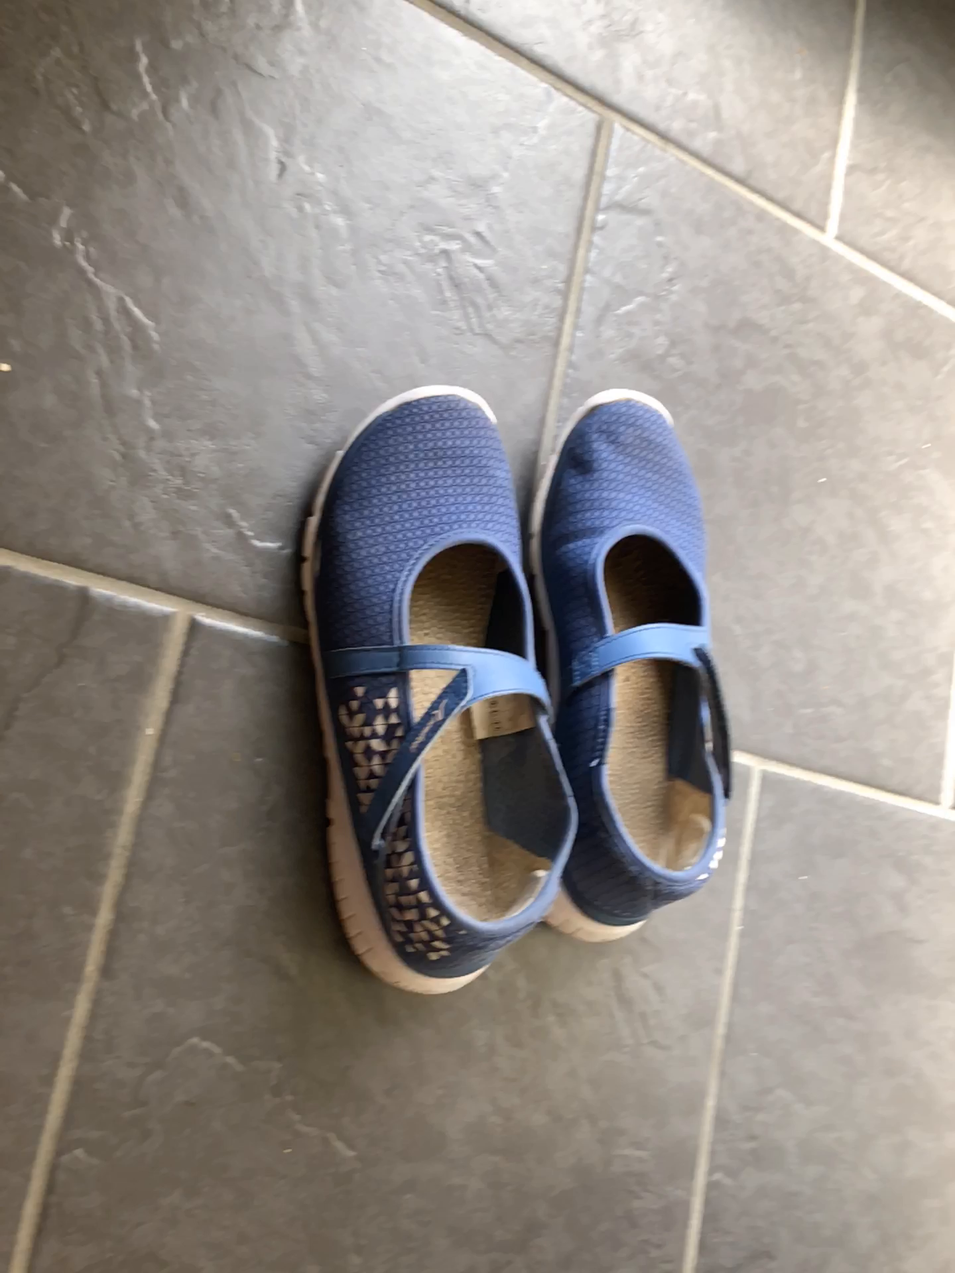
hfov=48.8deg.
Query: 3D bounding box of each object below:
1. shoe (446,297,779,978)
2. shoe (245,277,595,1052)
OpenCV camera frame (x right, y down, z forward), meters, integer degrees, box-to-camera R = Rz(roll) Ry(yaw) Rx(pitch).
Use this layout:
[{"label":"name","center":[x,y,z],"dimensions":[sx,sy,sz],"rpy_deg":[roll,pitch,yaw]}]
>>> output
[{"label":"shoe","center":[0.065,0.004,0.523],"dimensions":[0.110,0.120,0.290],"rpy_deg":[5,83,-27]},{"label":"shoe","center":[-0.032,0.012,0.472],"dimensions":[0.110,0.120,0.290],"rpy_deg":[1,85,-27]}]
